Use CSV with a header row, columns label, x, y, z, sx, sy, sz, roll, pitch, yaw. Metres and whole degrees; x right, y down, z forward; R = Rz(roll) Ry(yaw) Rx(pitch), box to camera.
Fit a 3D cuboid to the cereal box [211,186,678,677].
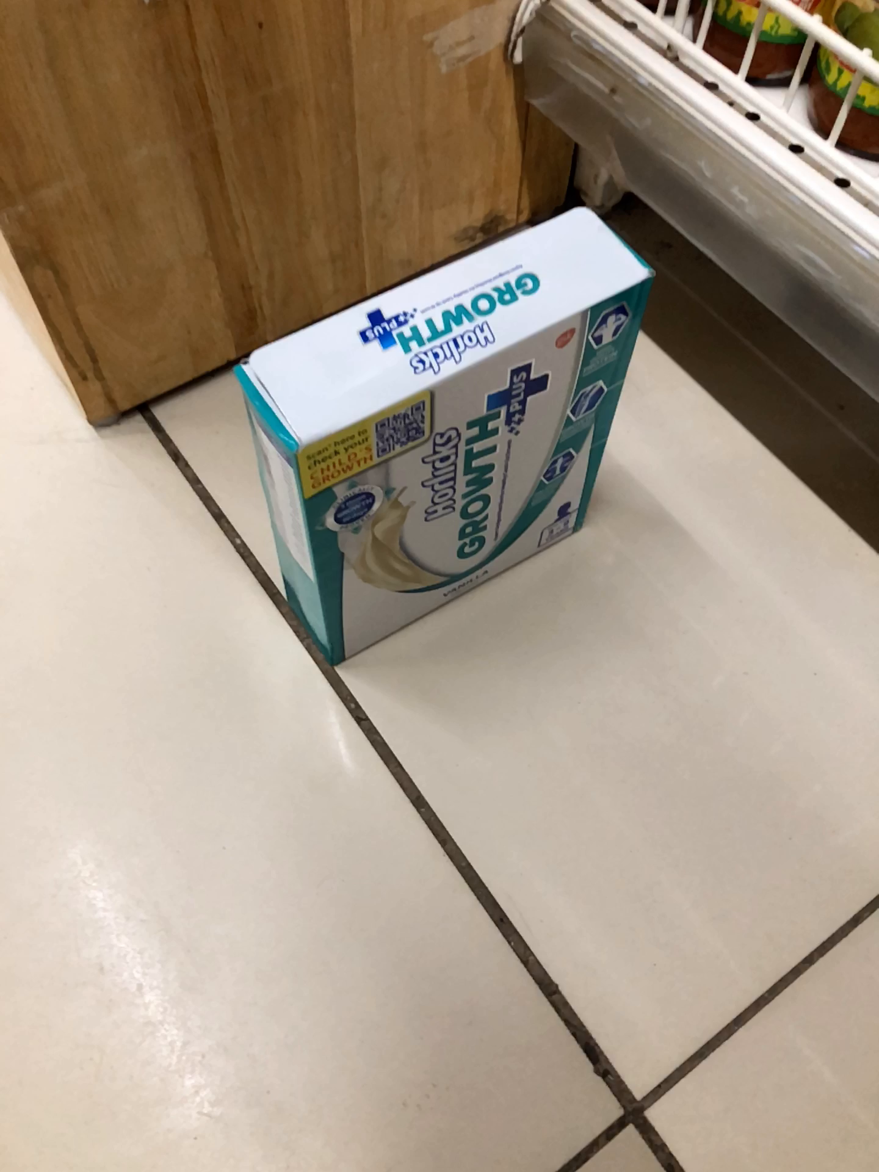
label,x,y,z,sx,sy,sz,roll,pitch,yaw
cereal box,0.004,-0.052,0.388,0.150,0.159,0.050,-28,65,-16
